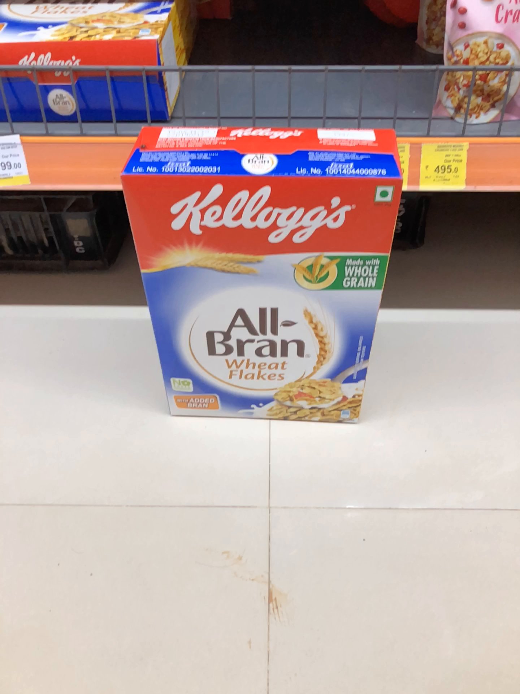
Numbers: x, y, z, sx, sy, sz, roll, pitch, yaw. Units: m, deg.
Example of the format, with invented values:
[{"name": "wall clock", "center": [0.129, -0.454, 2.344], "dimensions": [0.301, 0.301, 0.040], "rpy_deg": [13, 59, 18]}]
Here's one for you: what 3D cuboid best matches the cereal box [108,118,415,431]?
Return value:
[{"name": "cereal box", "center": [0.003, -0.044, 0.477], "dimensions": [0.190, 0.258, 0.081], "rpy_deg": [2, 46, 3]}]
